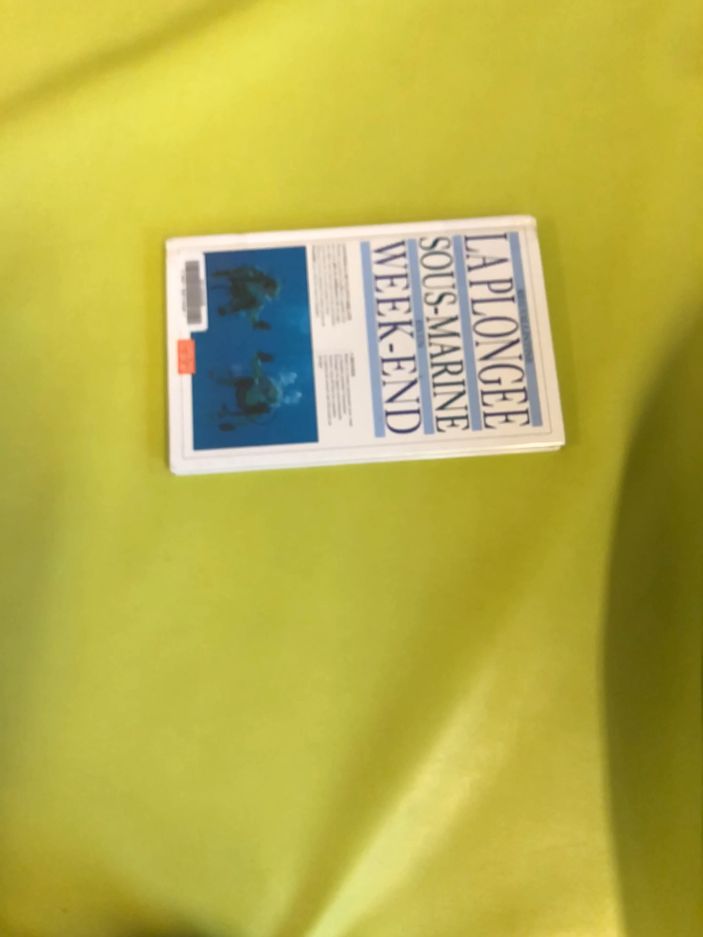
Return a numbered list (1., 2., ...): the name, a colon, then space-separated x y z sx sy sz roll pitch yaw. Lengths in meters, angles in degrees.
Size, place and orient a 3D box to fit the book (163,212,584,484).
1. book: 0.009 -0.073 0.463 0.234 0.020 0.150 -4 76 -1
